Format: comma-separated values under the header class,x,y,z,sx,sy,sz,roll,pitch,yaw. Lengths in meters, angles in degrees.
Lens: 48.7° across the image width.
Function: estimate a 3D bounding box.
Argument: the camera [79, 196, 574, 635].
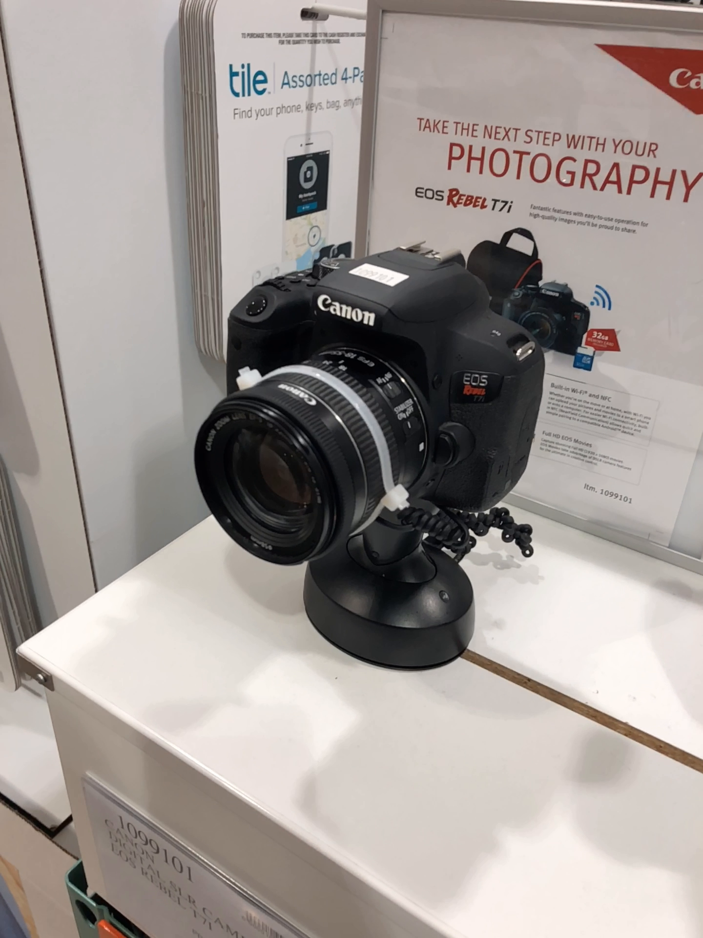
class,x,y,z,sx,sy,sz,roll,pitch,yaw
camera,-0.008,-0.034,0.302,0.130,0.100,0.120,23,36,29
